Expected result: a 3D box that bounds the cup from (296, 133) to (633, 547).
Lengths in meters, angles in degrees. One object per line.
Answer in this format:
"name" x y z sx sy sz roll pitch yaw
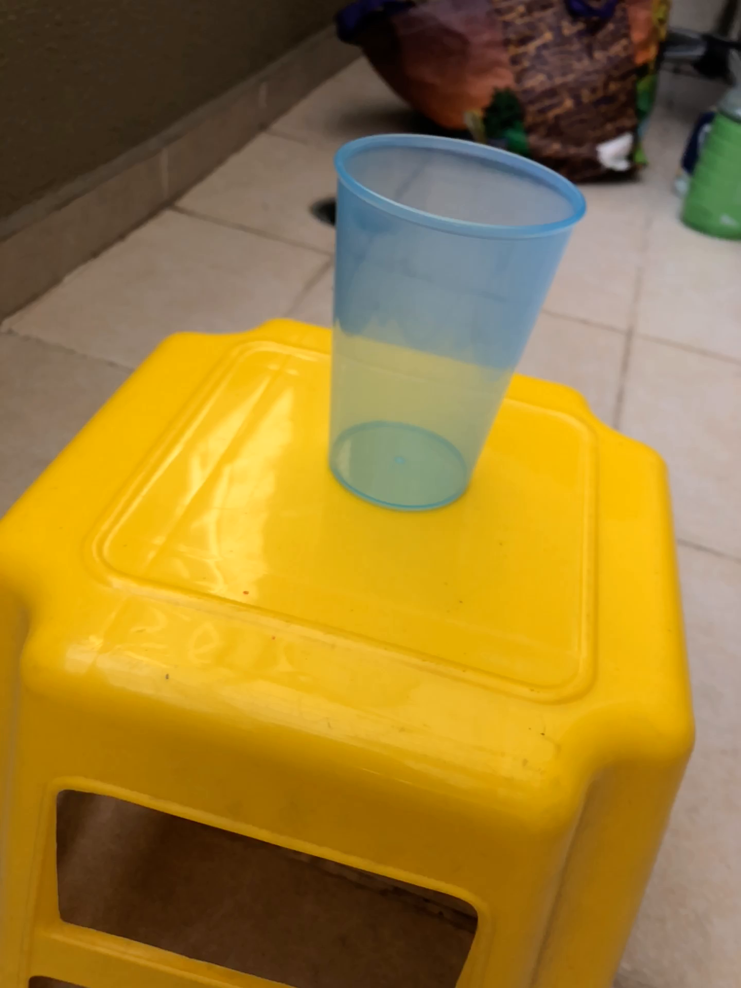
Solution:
"cup" 0.026 -0.050 0.273 0.080 0.099 0.071 11 39 1
